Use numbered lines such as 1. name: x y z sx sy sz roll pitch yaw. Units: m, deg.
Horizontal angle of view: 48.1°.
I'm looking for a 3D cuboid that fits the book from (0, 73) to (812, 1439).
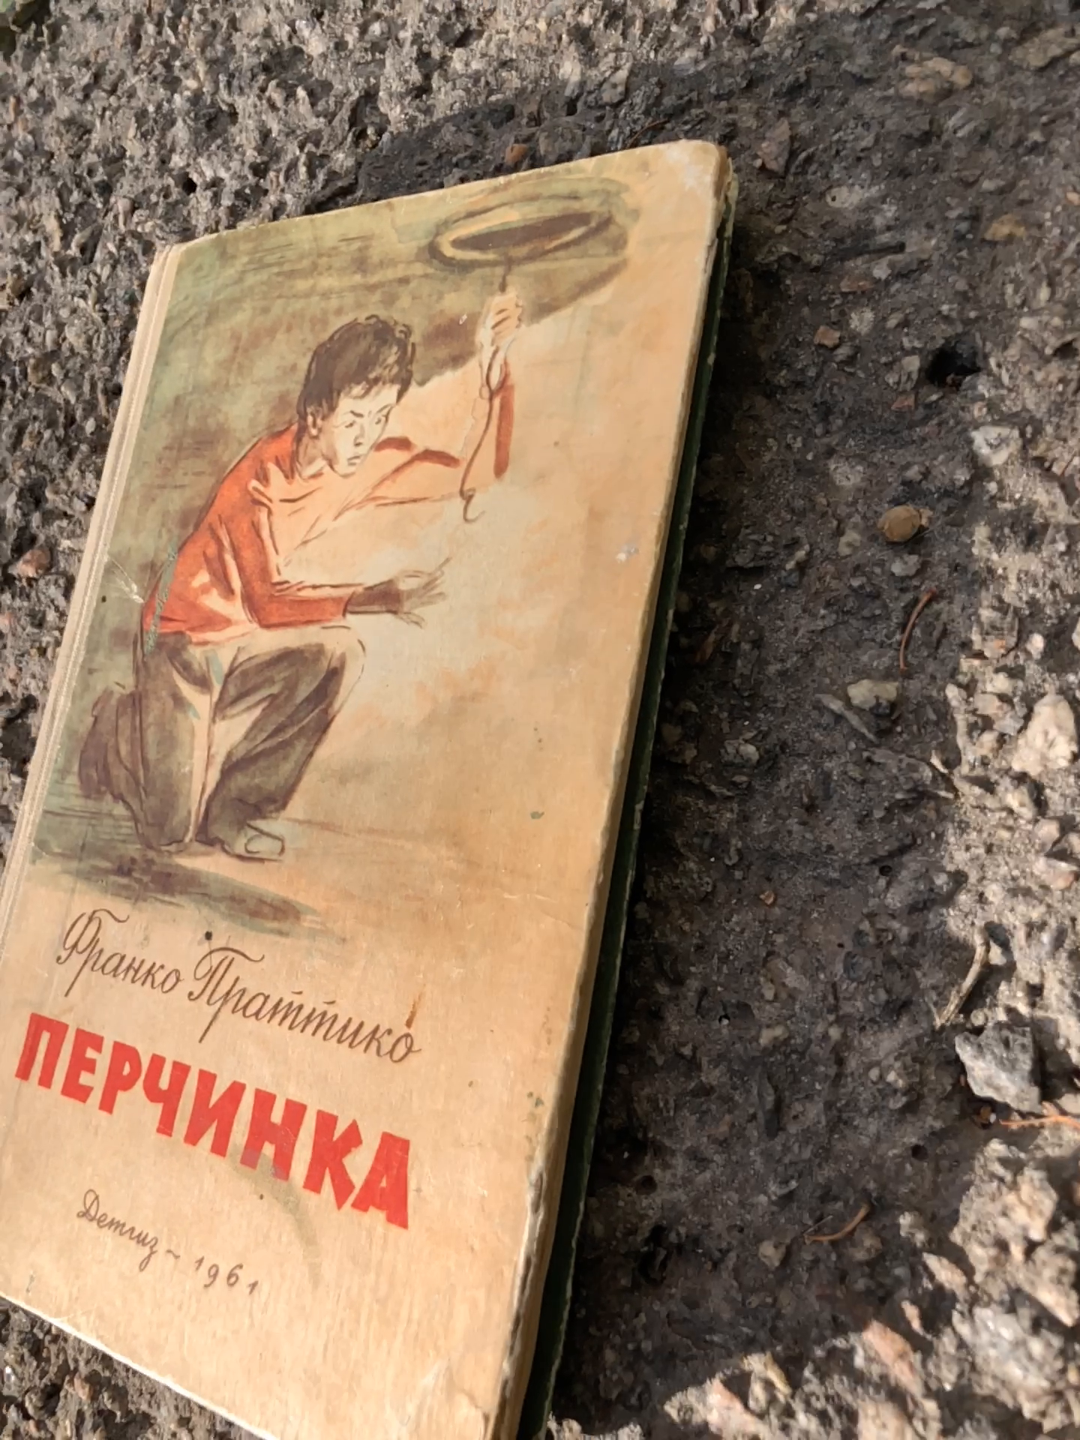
1. book: -0.039 0.005 0.202 0.132 0.030 0.203 6 81 31
